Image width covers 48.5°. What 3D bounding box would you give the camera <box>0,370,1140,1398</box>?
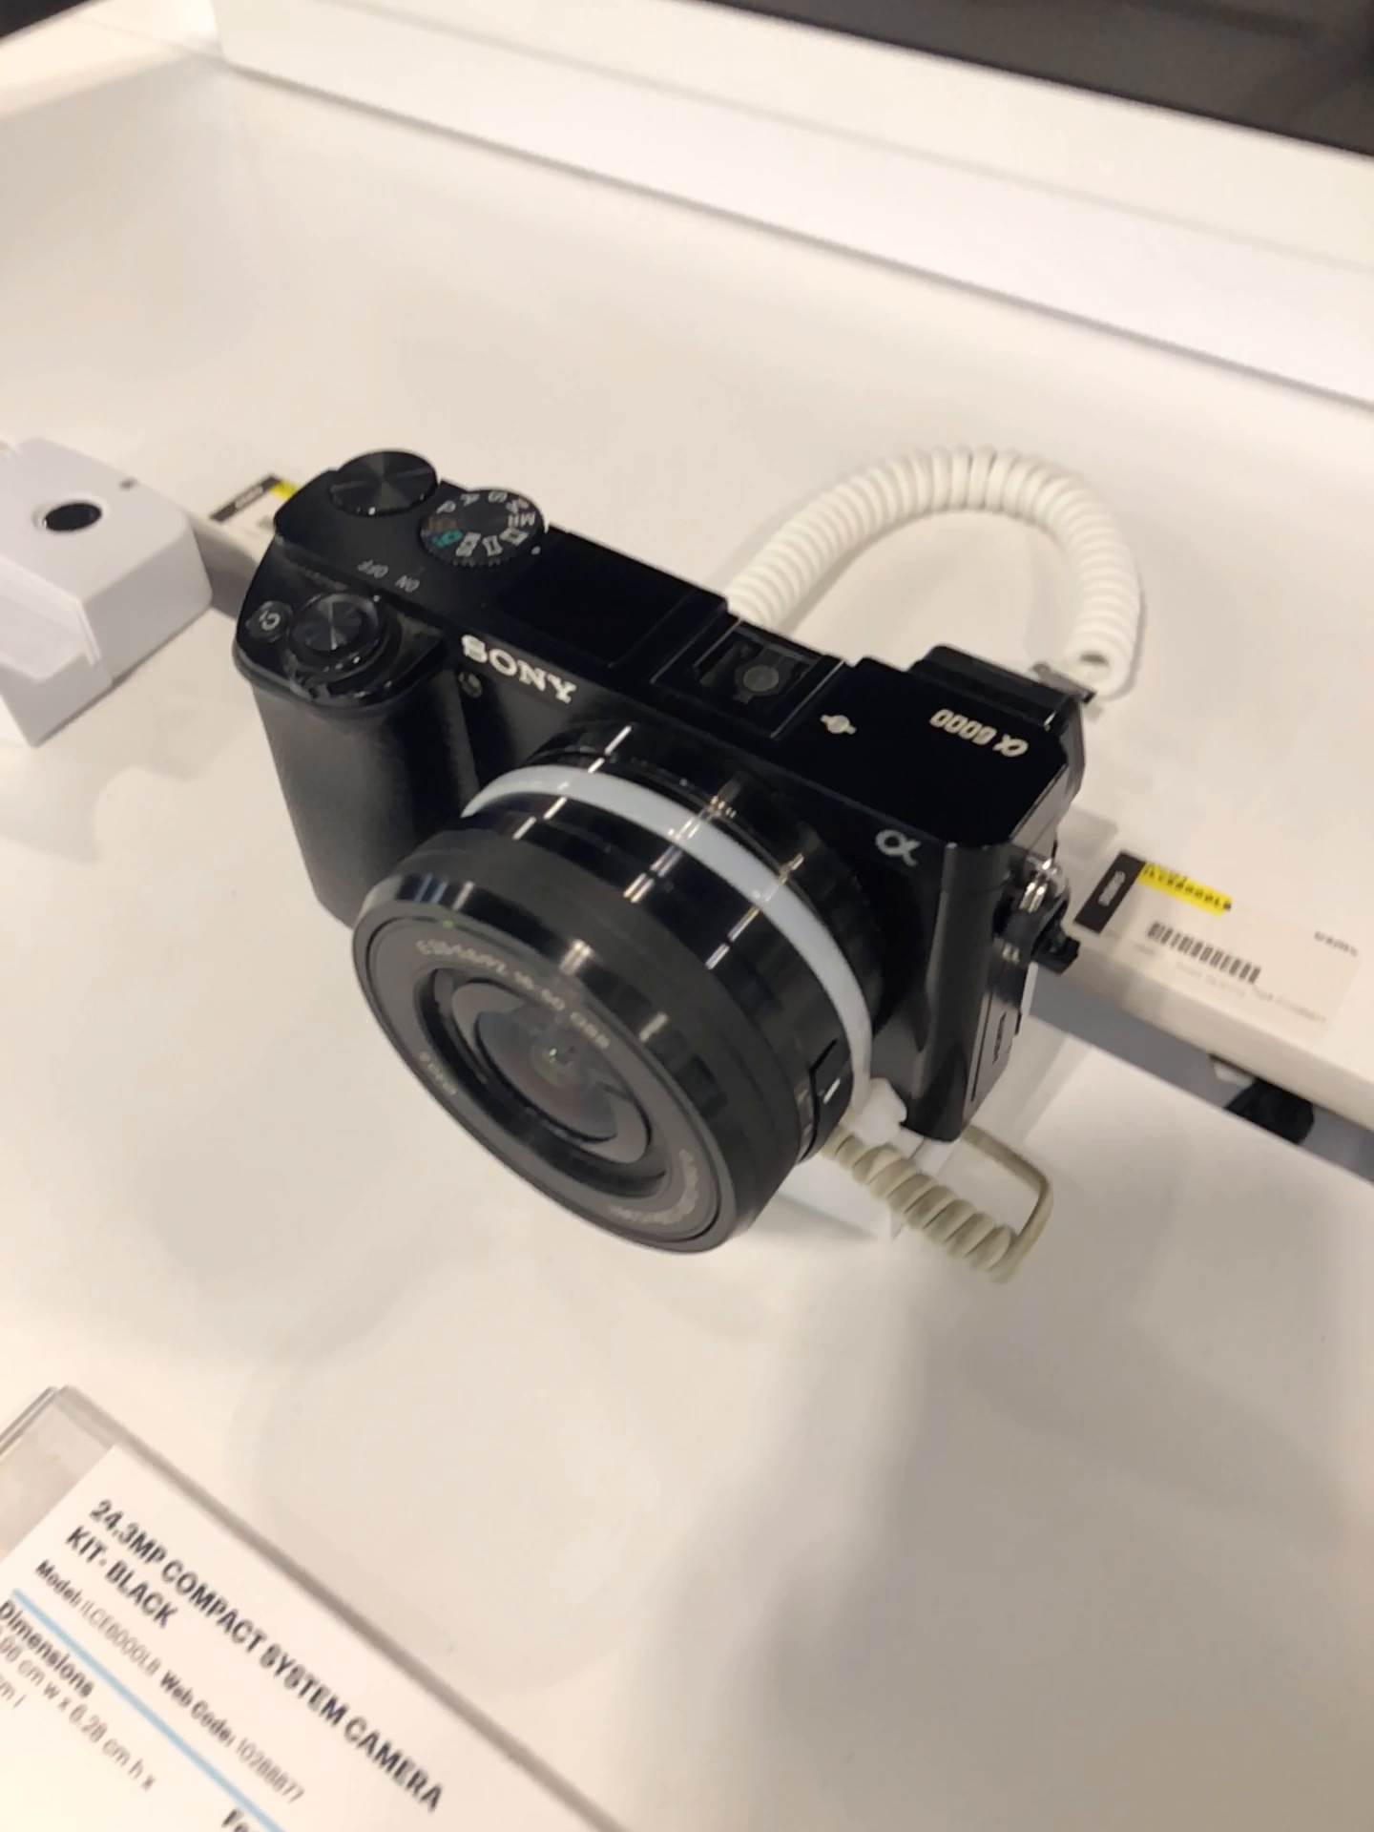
[{"bbox_3d":[-0.016,-0.009,0.206,0.120,0.070,0.070,27,56,23],"label":"camera"}]
